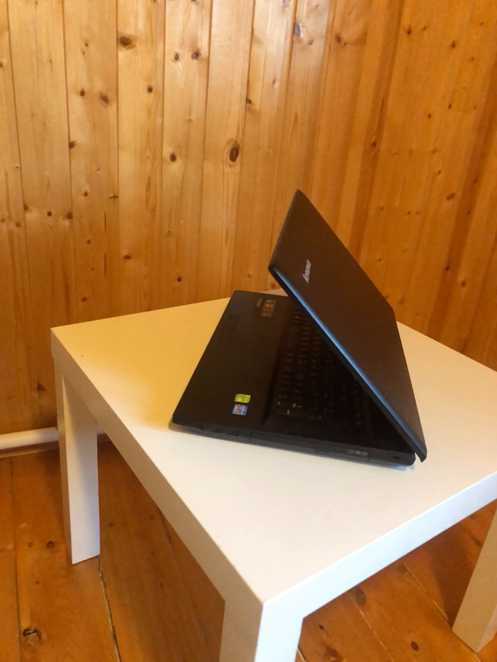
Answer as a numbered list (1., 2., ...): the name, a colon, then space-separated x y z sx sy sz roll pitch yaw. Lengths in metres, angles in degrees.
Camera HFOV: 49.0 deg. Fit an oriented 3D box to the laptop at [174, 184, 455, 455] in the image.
1. laptop: 0.085 -0.053 0.725 0.260 0.179 0.391 8 26 6
